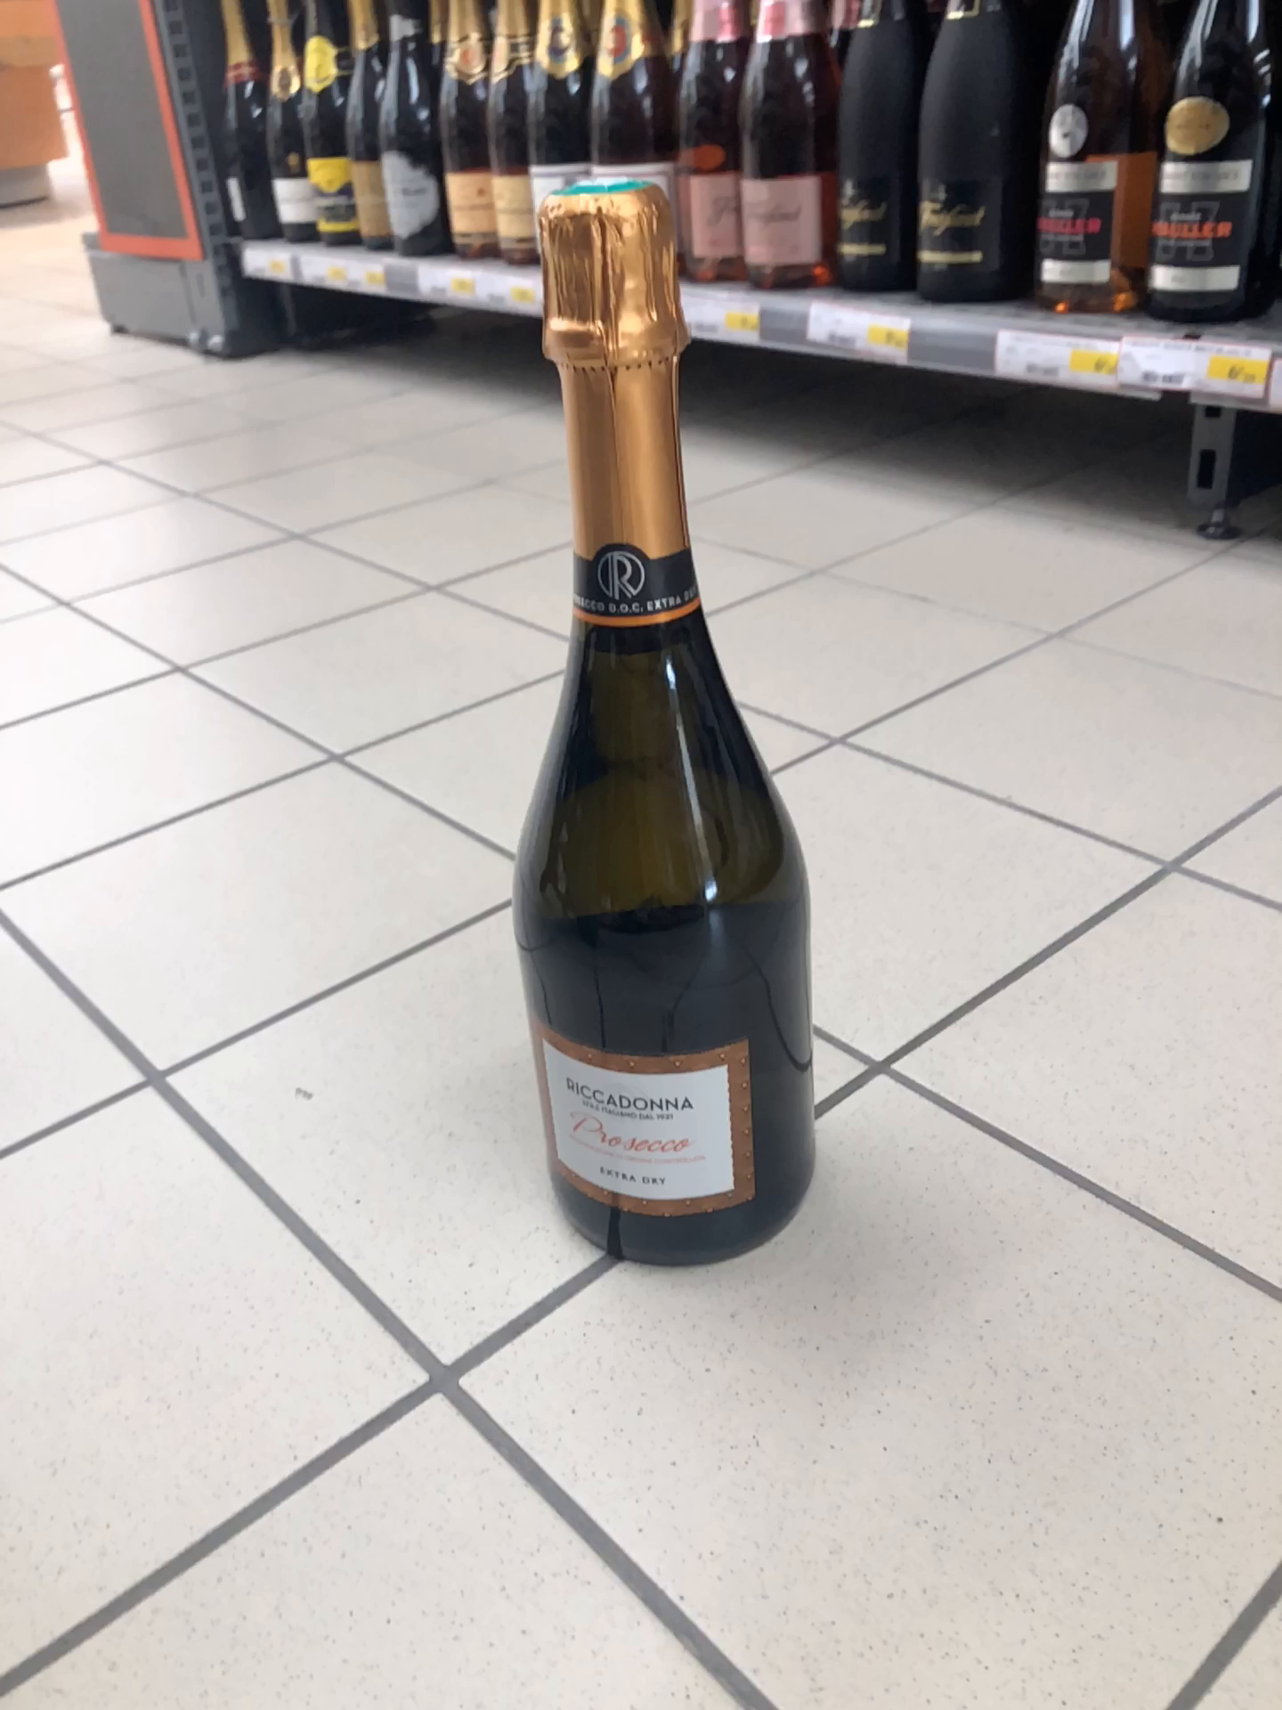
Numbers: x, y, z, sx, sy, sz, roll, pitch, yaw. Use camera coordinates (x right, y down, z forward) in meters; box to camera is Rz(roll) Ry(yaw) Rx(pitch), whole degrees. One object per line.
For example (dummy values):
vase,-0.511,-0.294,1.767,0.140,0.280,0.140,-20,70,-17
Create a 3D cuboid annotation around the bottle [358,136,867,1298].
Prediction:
bottle,0.008,-0.028,0.416,0.100,0.318,0.091,5,30,17
